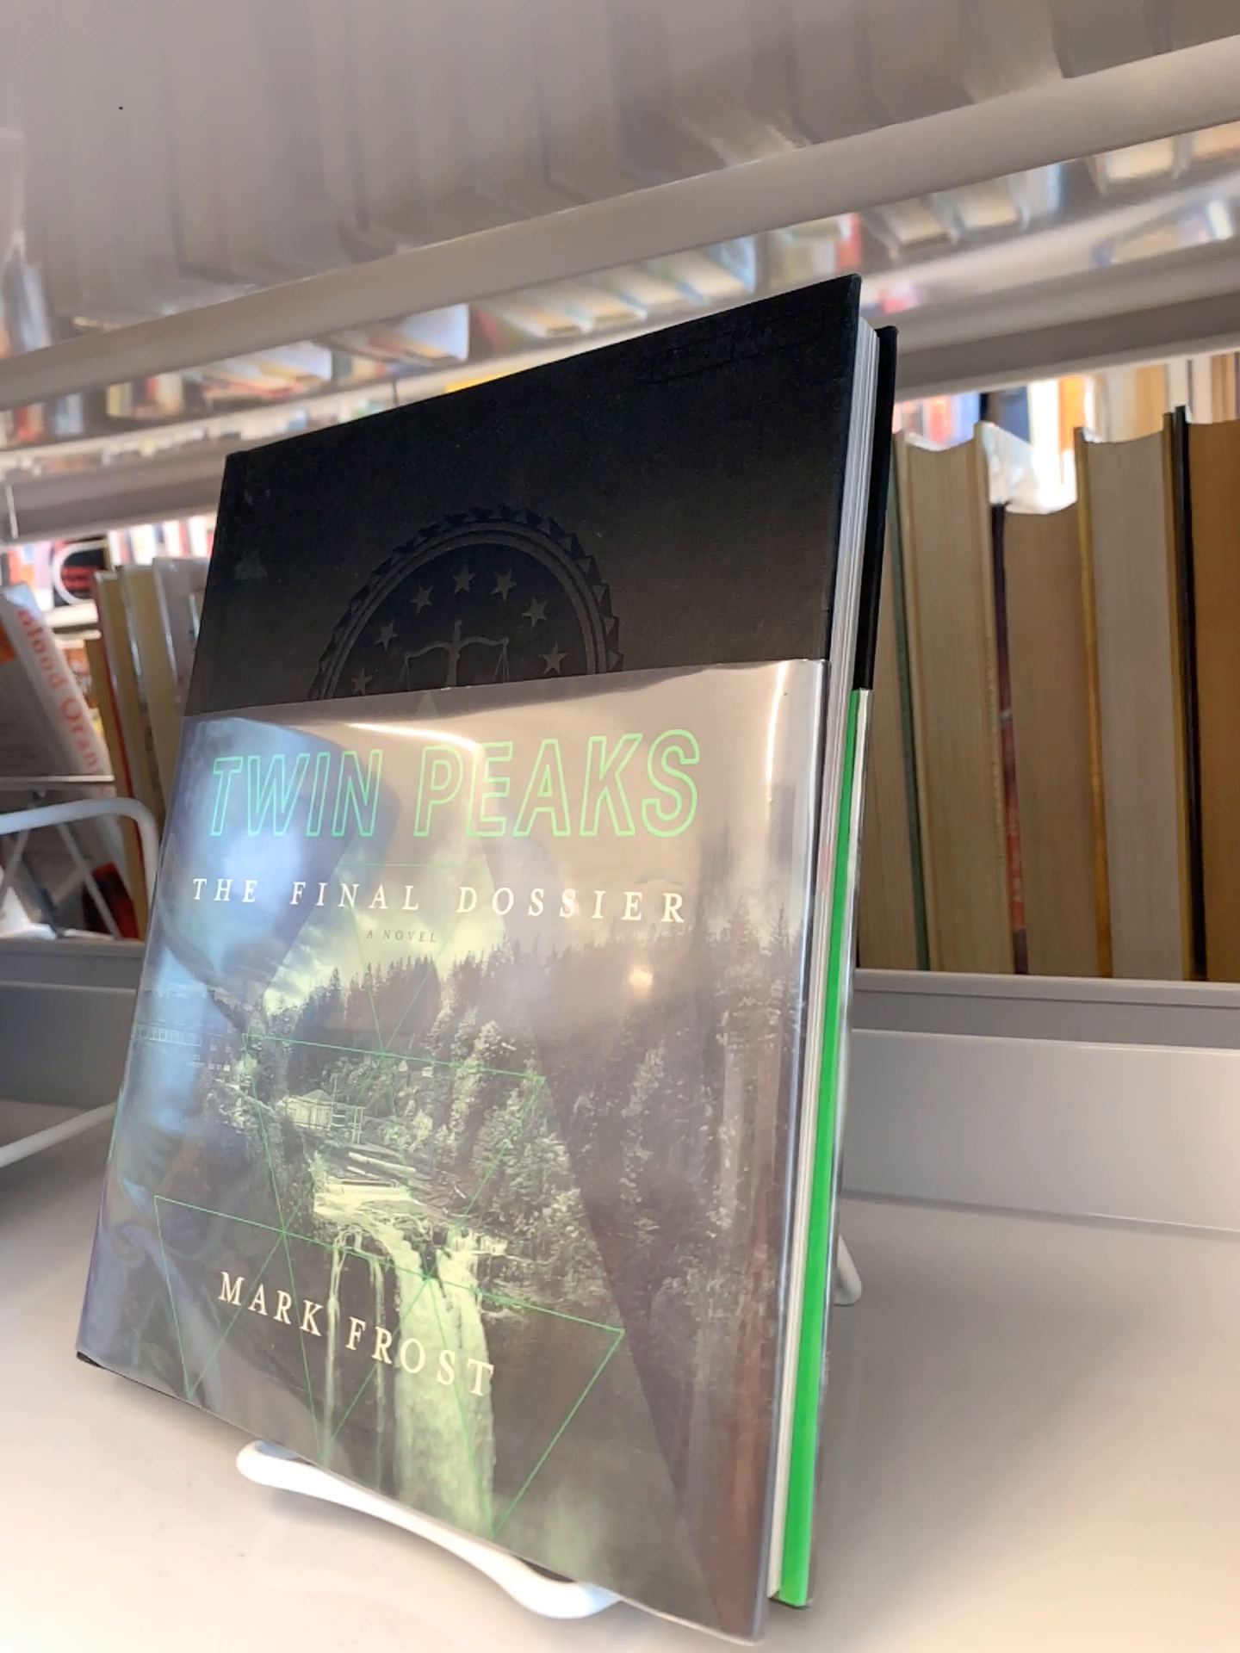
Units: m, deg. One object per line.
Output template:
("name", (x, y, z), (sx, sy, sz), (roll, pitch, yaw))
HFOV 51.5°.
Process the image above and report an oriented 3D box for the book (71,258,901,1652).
("book", (-0.040, 0.014, 0.275), (0.190, 0.228, 0.020), (0, -10, 38))
